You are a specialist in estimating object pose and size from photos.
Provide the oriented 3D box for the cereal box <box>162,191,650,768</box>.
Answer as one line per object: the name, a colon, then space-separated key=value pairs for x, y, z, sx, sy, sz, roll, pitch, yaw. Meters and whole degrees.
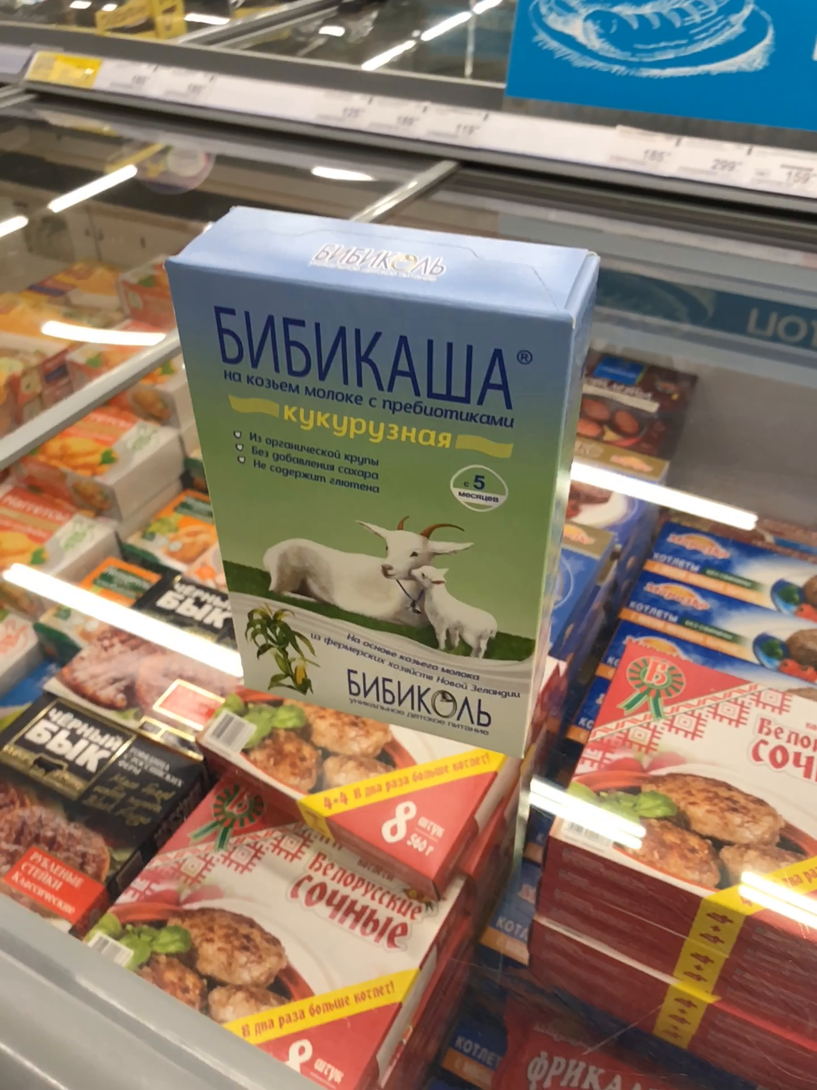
cereal box: x=0.000 y=-0.016 z=0.339 sx=0.140 sy=0.199 sz=0.050 roll=12 pitch=41 yaw=15
